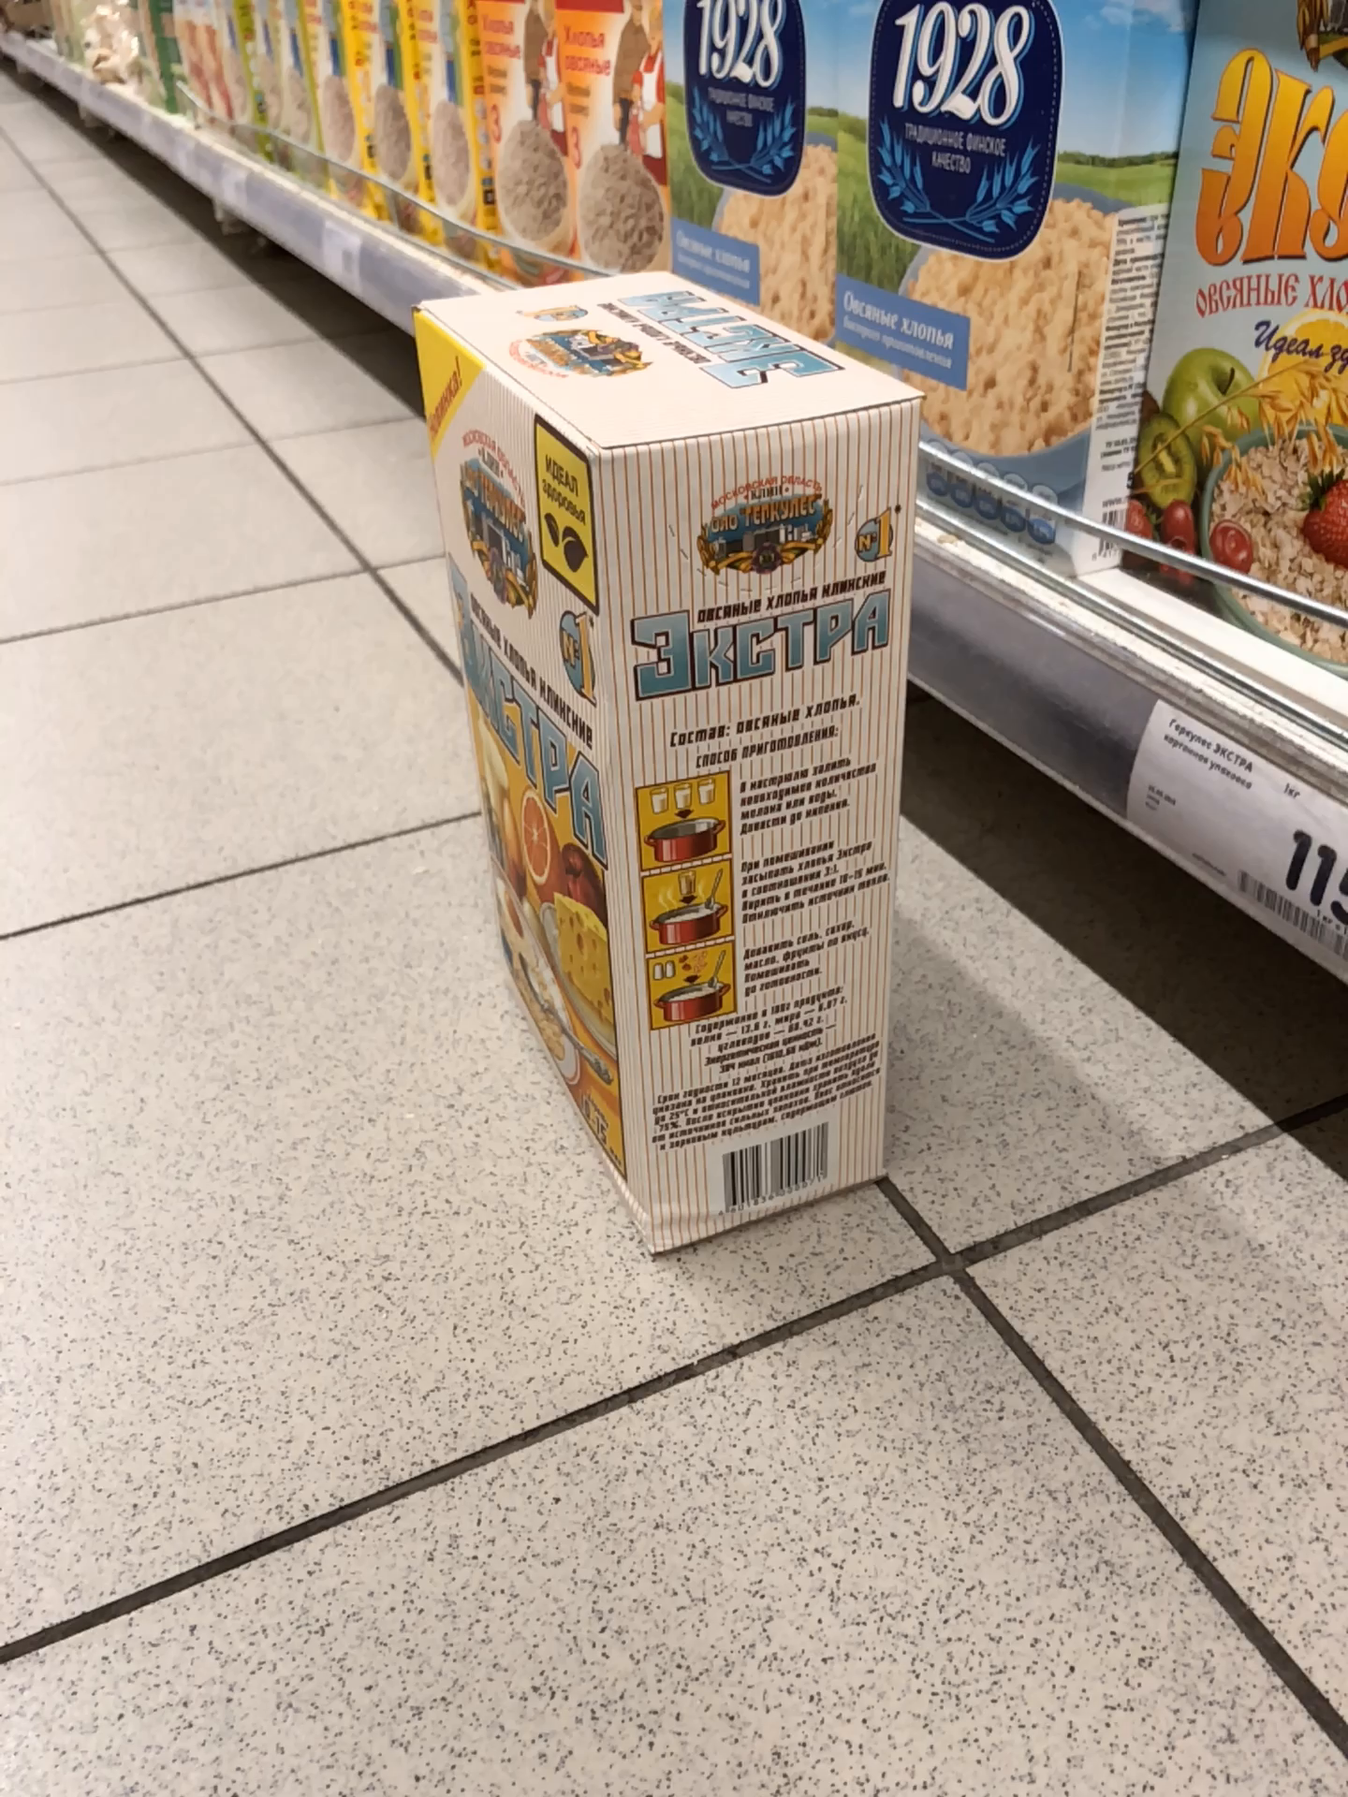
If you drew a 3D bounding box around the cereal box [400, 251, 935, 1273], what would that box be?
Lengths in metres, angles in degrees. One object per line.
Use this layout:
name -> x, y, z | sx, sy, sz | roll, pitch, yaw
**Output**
cereal box -> -0.005, -0.041, 0.427 | 0.080, 0.239, 0.151 | -14, 35, -17
